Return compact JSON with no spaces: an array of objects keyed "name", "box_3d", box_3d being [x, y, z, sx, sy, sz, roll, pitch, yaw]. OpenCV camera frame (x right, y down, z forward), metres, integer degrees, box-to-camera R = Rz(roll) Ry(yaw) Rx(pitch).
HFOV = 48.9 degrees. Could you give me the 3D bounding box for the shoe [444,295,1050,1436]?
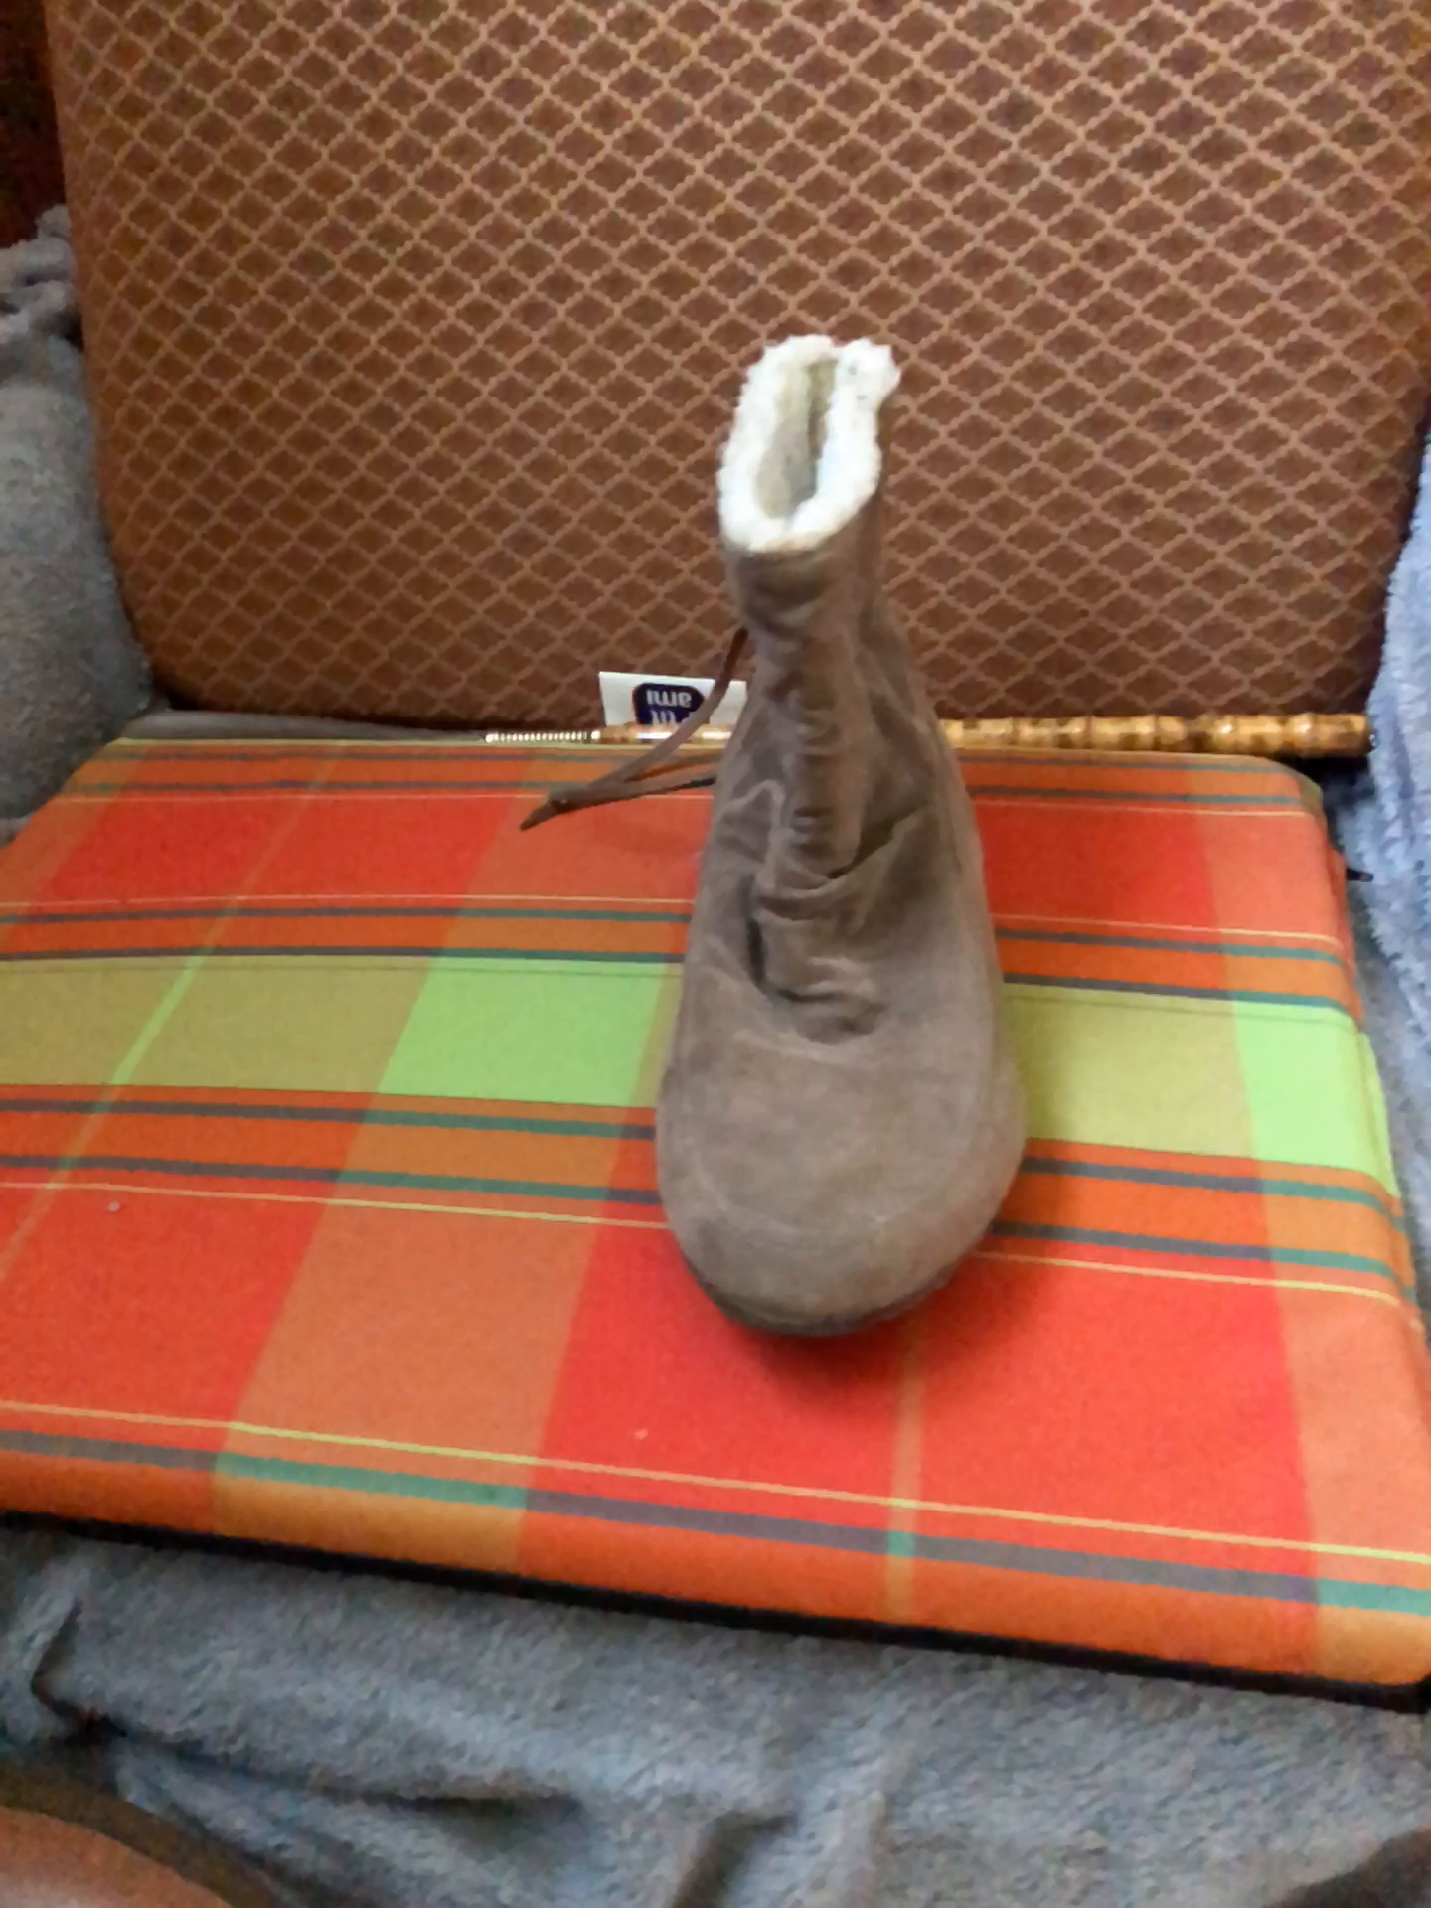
[{"name":"shoe","box_3d":[0.033,-0.038,0.405,0.100,0.159,0.262,-1,41,11]}]
